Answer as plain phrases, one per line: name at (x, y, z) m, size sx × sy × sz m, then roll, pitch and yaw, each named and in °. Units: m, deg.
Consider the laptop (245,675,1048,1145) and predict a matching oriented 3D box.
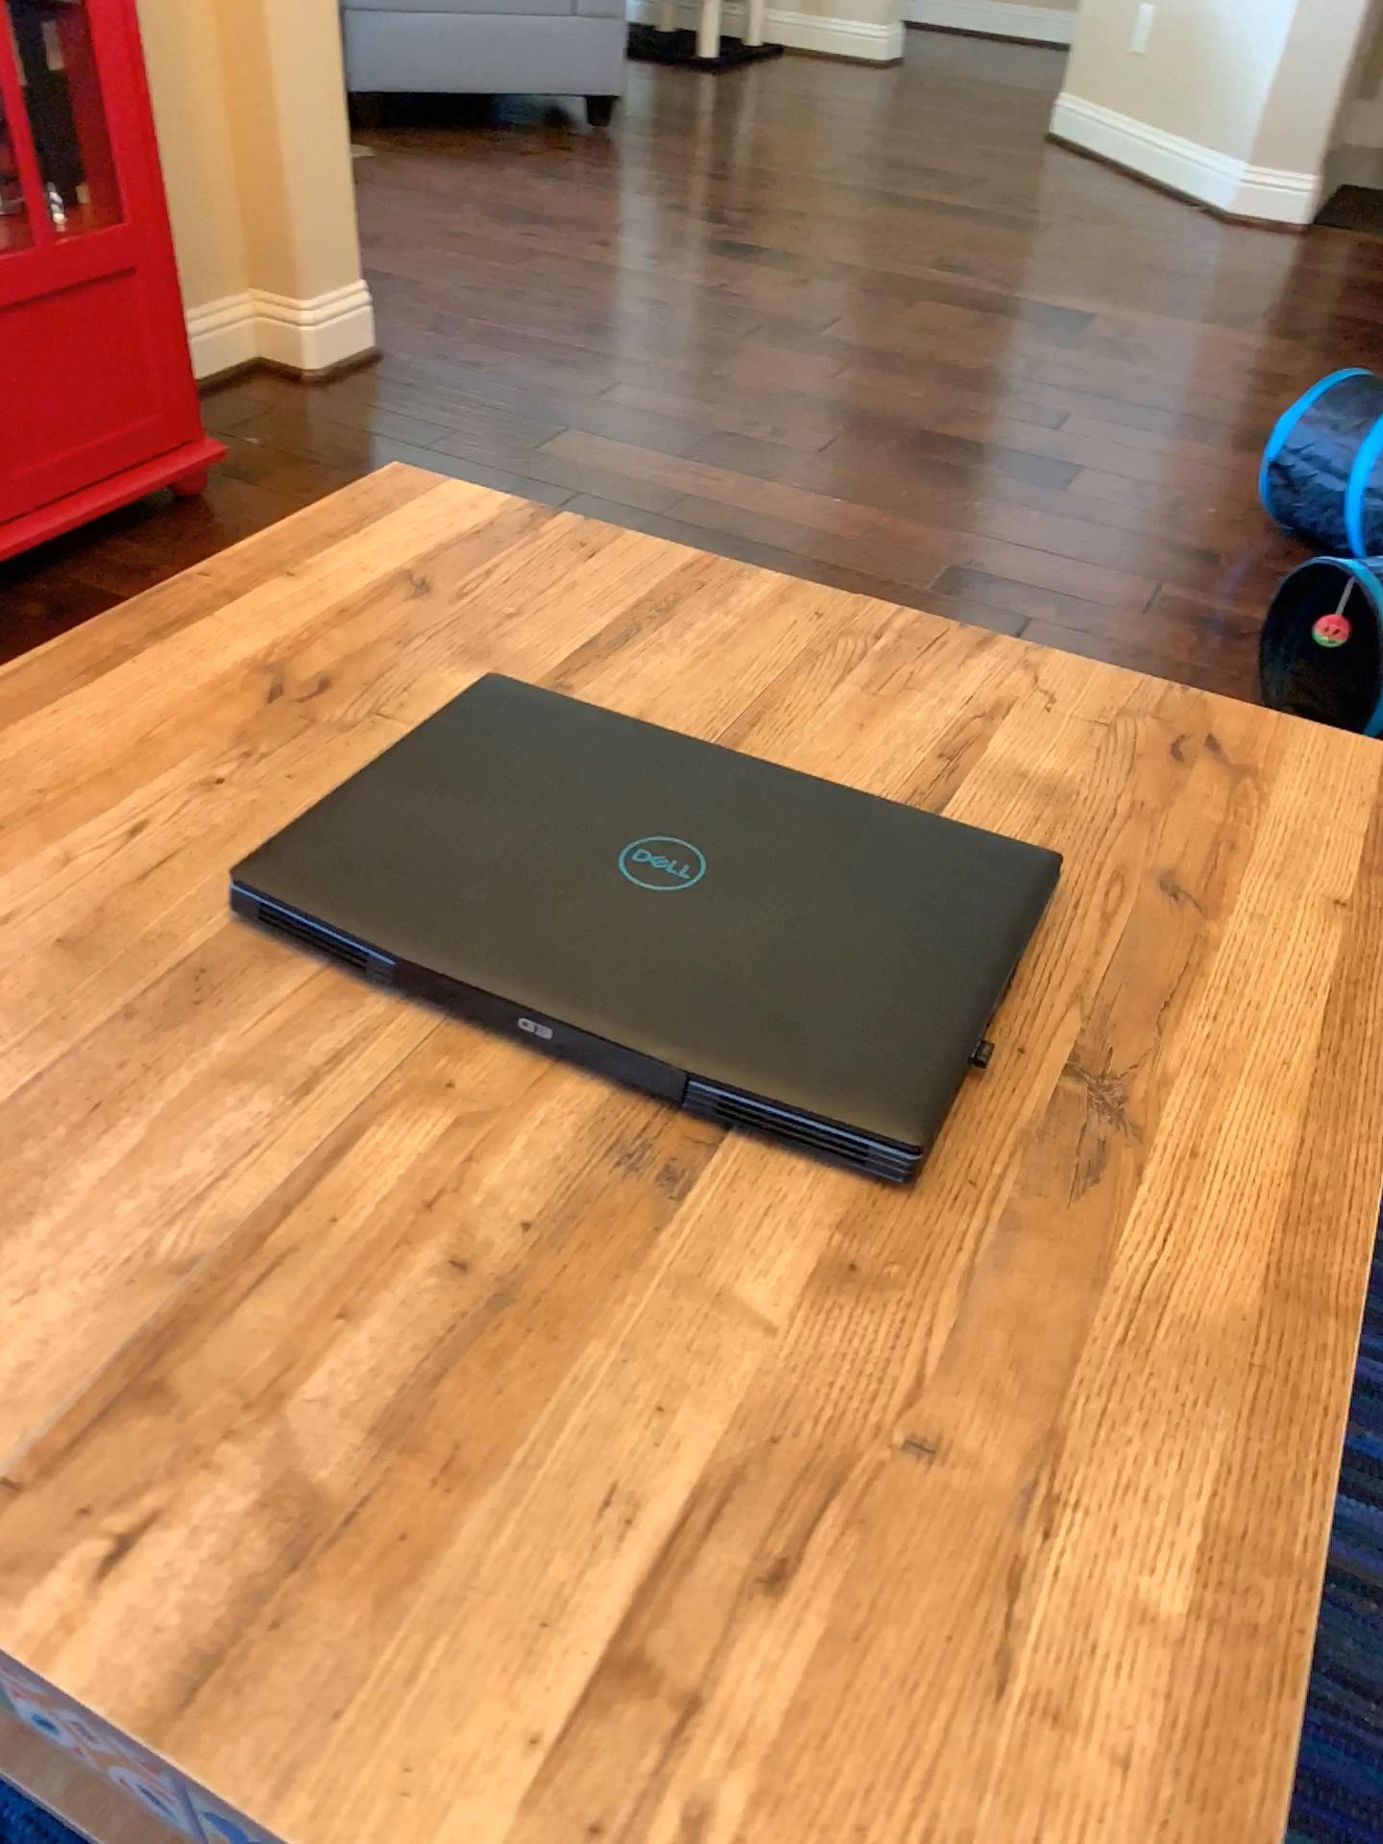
laptop at (-0.015, -0.029, 0.714) m, size 0.346 × 0.001 × 0.228 m, roll 20°, pitch 41°, yaw 18°
